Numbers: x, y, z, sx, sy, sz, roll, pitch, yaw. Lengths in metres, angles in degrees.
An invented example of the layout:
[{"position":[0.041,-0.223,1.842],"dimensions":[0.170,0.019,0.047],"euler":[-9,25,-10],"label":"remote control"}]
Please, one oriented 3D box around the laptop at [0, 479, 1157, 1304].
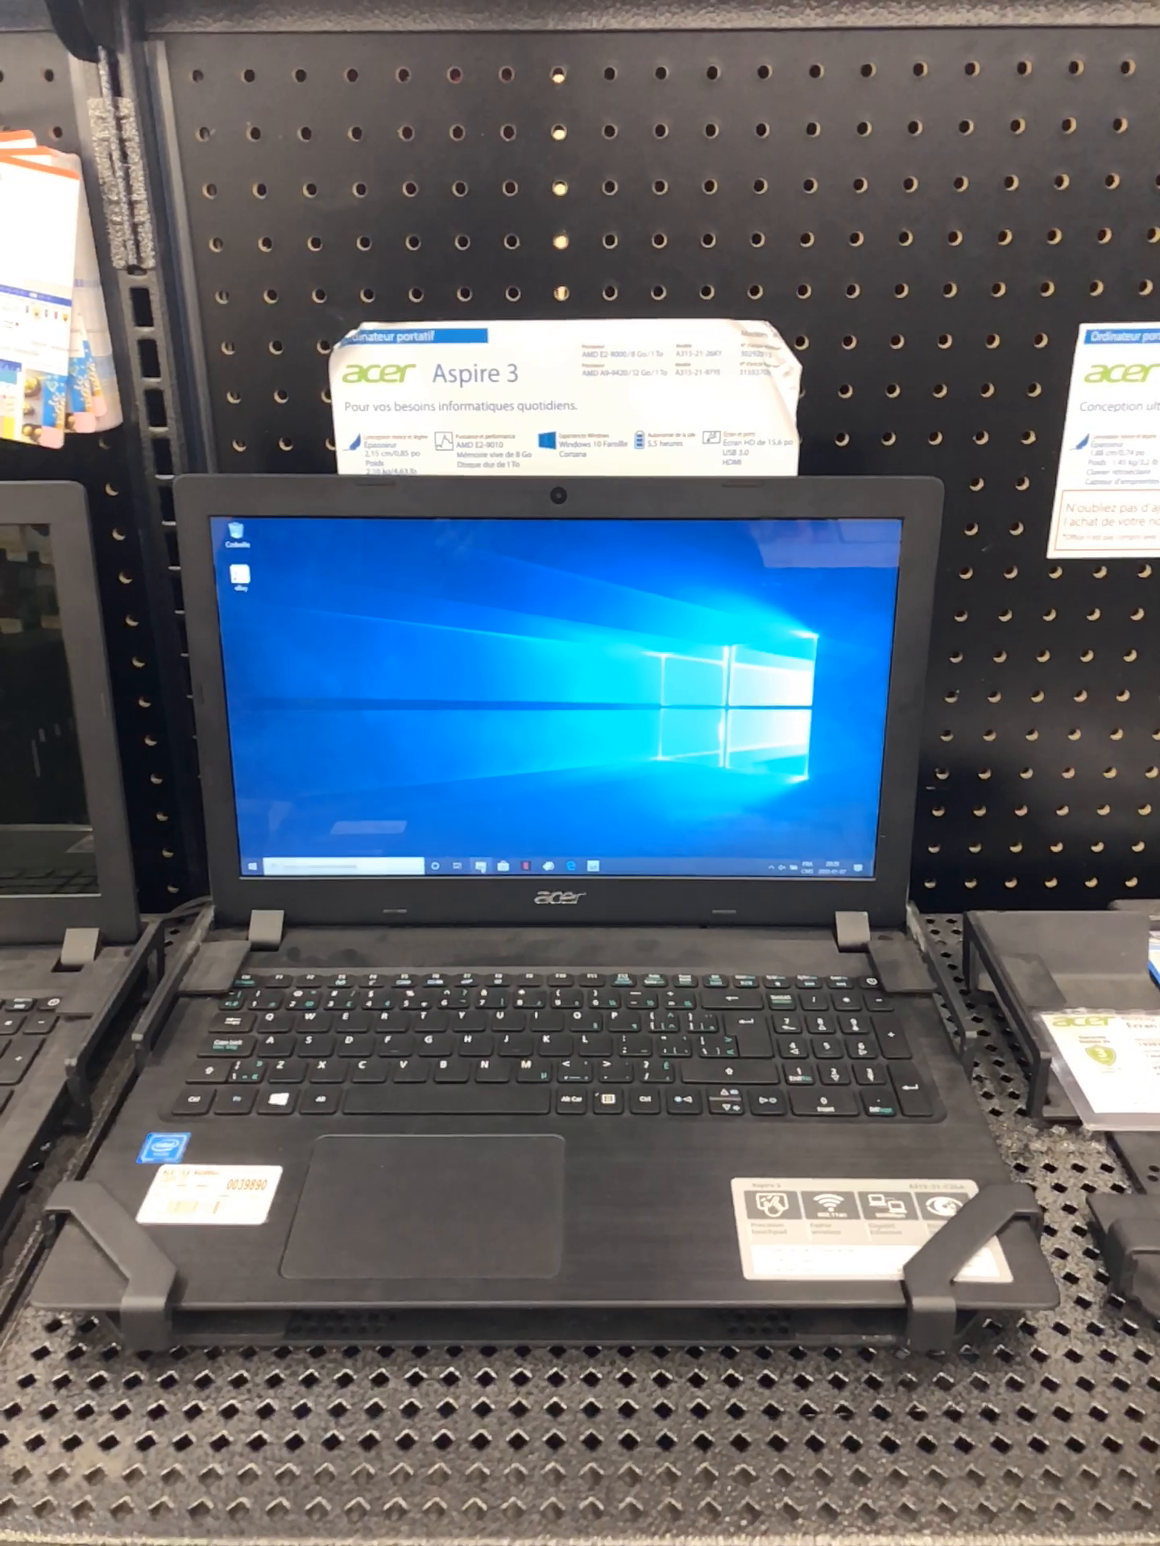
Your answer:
[{"position":[-0.016,0.025,0.568],"dimensions":[0.386,0.247,0.296],"euler":[0,24,1],"label":"laptop"}]
